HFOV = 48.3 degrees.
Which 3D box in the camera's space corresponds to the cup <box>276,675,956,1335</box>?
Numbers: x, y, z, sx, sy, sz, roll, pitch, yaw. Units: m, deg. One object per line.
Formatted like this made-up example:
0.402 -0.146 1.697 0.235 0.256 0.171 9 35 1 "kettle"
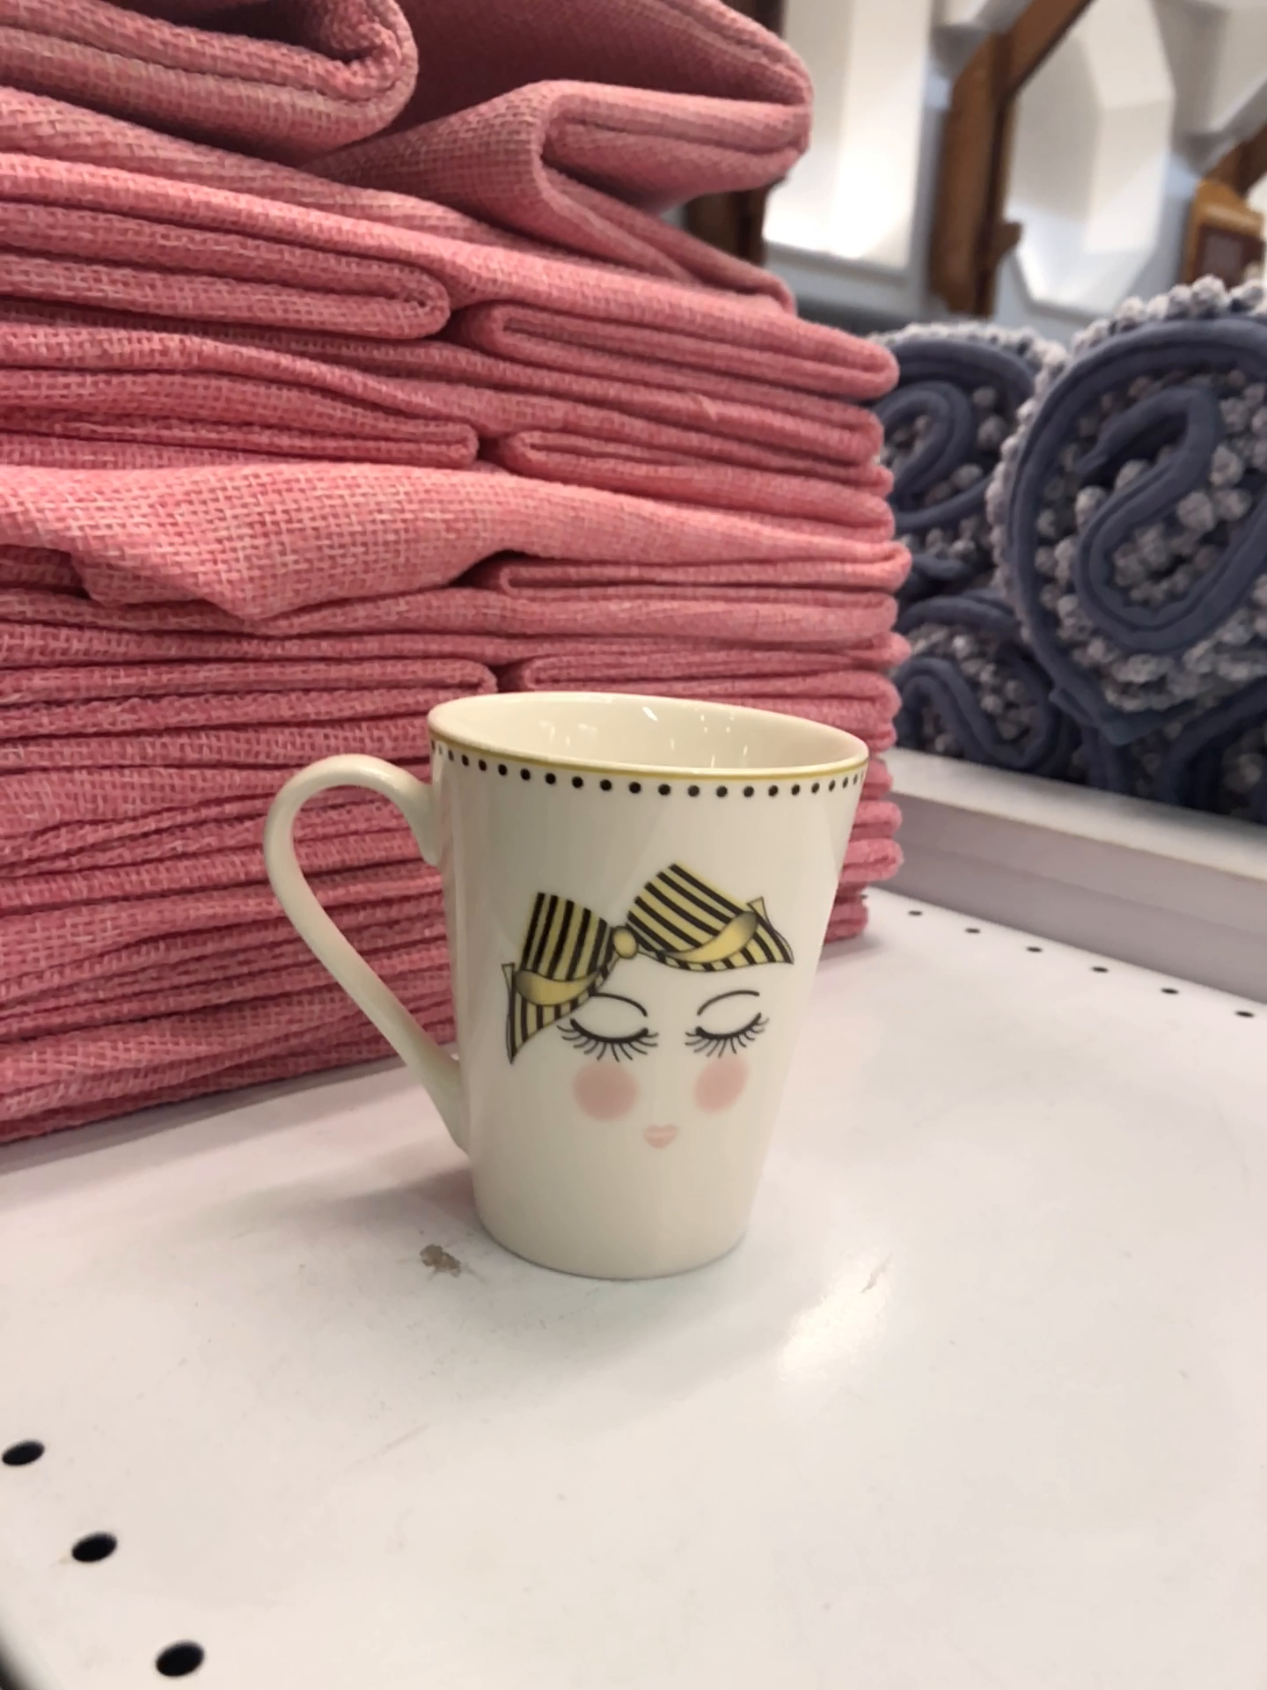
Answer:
-0.010 0.024 0.281 0.110 0.100 0.090 0 14 -9 "cup"
